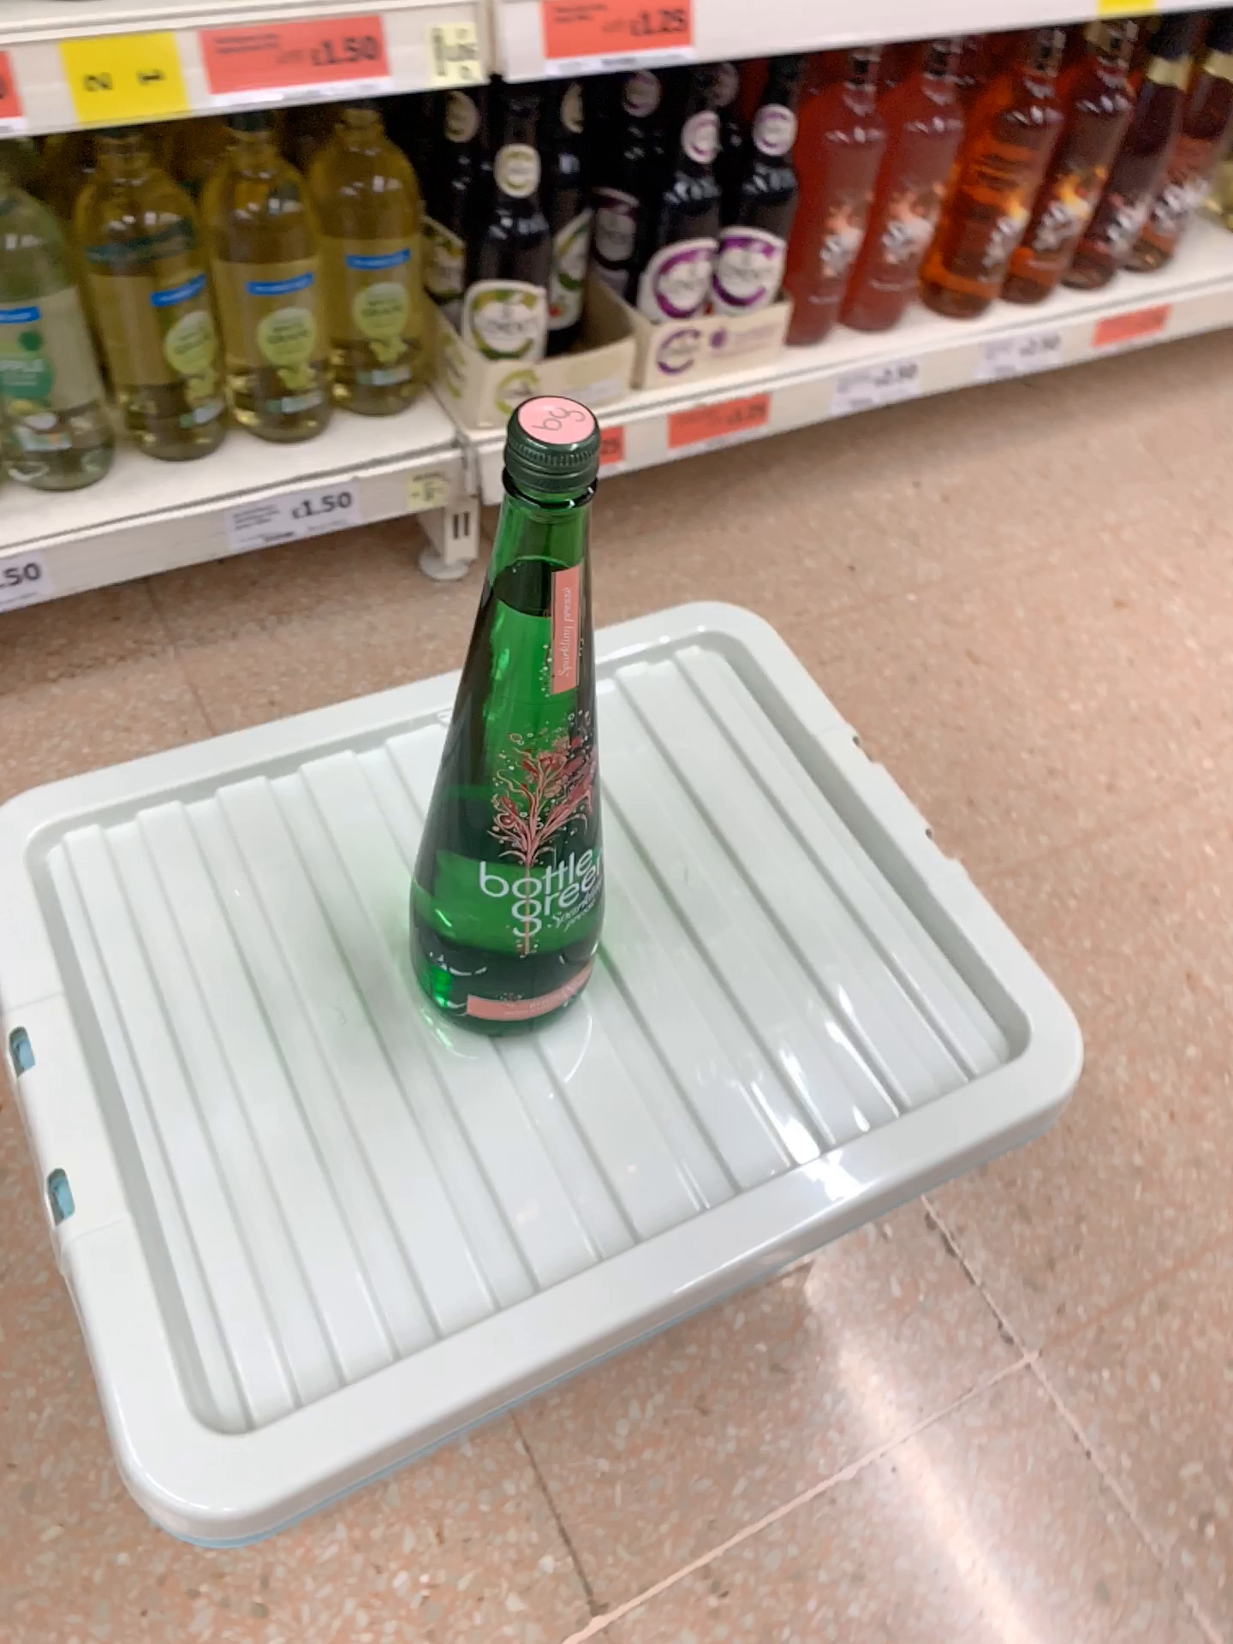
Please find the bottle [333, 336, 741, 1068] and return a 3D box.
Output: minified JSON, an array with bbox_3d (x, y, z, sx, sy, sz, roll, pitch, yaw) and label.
[{"bbox_3d":[-0.040,-0.023,0.482,0.090,0.287,0.085,4,53,-5],"label":"bottle"}]
